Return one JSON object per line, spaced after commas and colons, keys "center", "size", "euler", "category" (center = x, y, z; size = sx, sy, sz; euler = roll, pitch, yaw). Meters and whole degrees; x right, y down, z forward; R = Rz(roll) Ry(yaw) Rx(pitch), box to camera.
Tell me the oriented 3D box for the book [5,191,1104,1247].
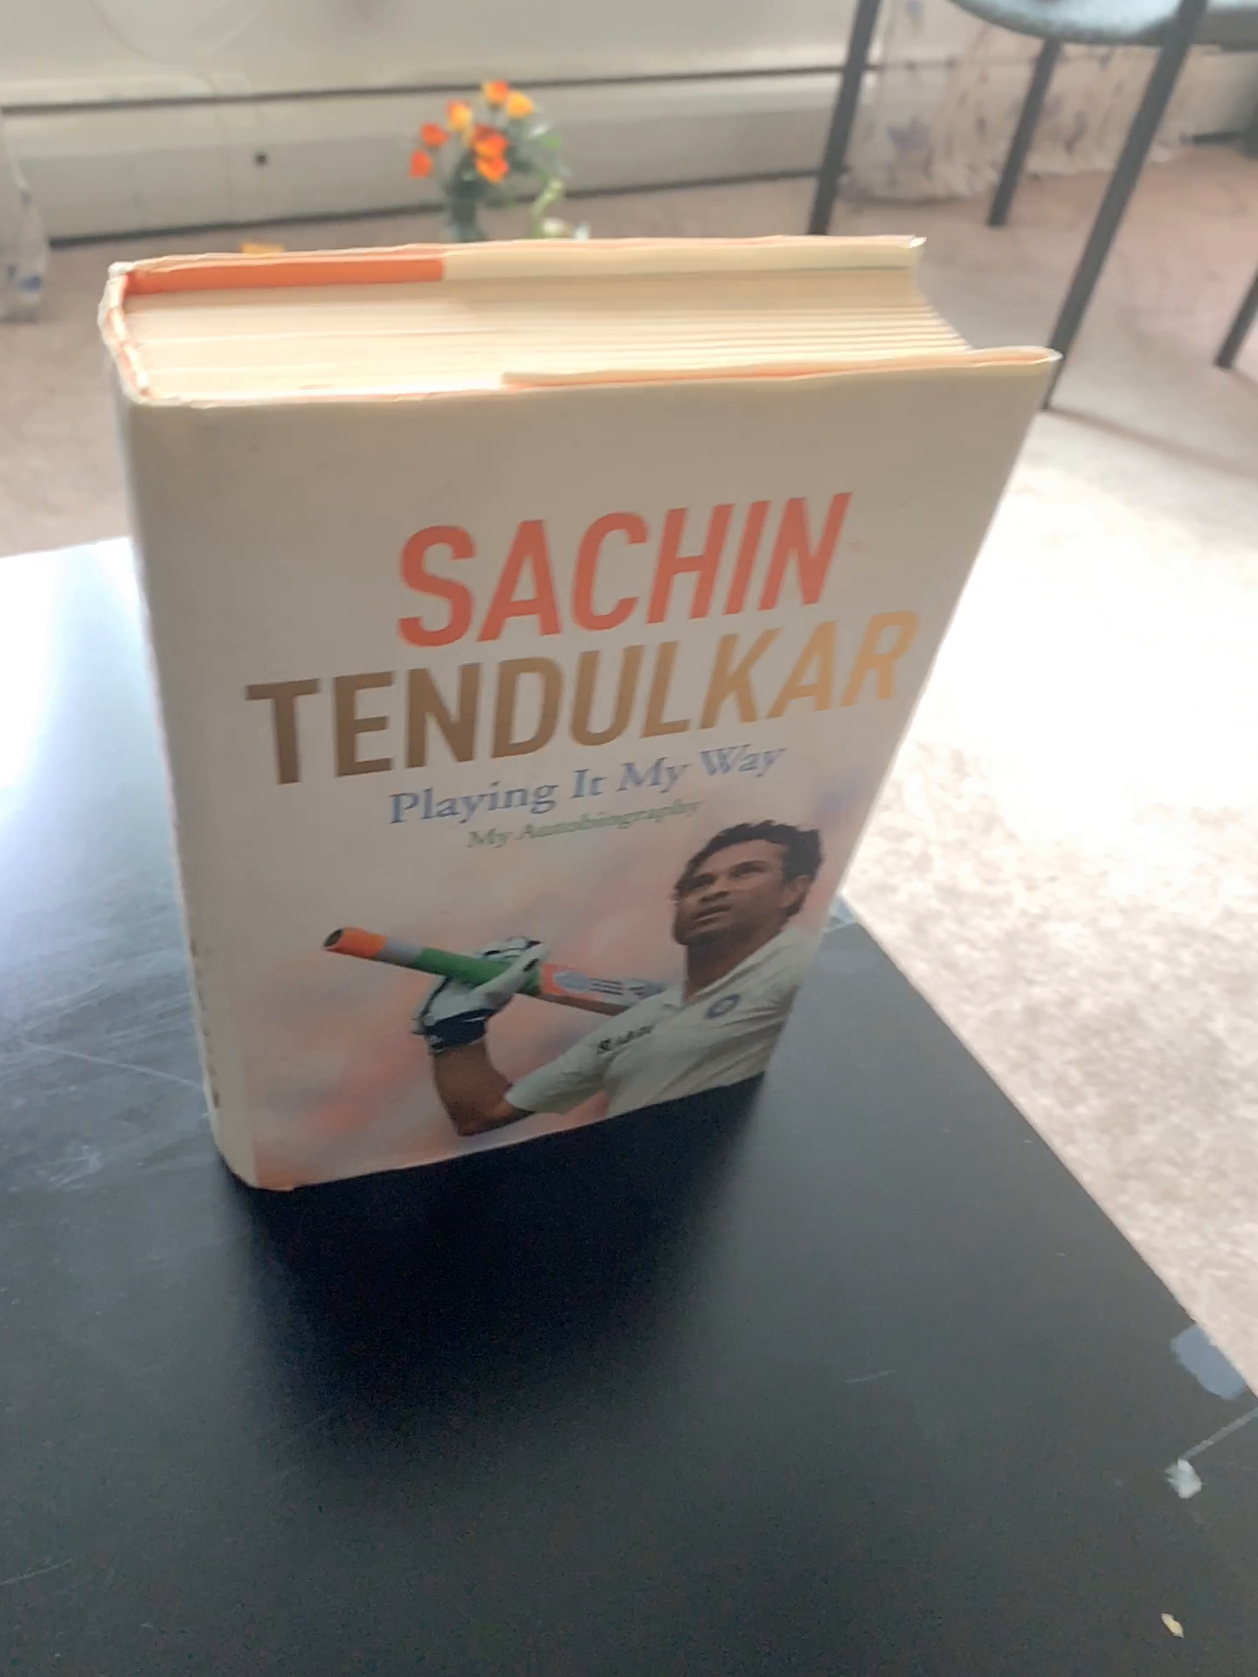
{"center": [-0.024, -0.012, 0.298], "size": [0.170, 0.238, 0.060], "euler": [-10, 49, -19], "category": "book"}
